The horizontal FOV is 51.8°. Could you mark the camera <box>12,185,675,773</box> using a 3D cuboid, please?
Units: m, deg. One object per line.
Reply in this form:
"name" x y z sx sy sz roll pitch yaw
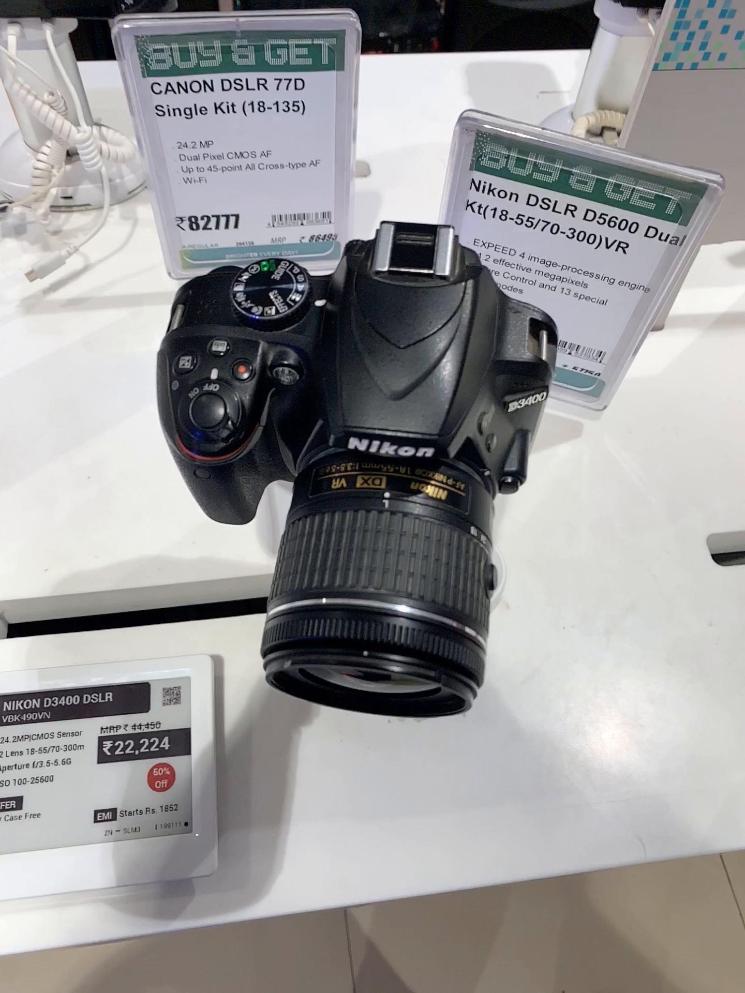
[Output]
"camera" -0.002 -0.003 0.203 0.120 0.080 0.120 6 60 0
